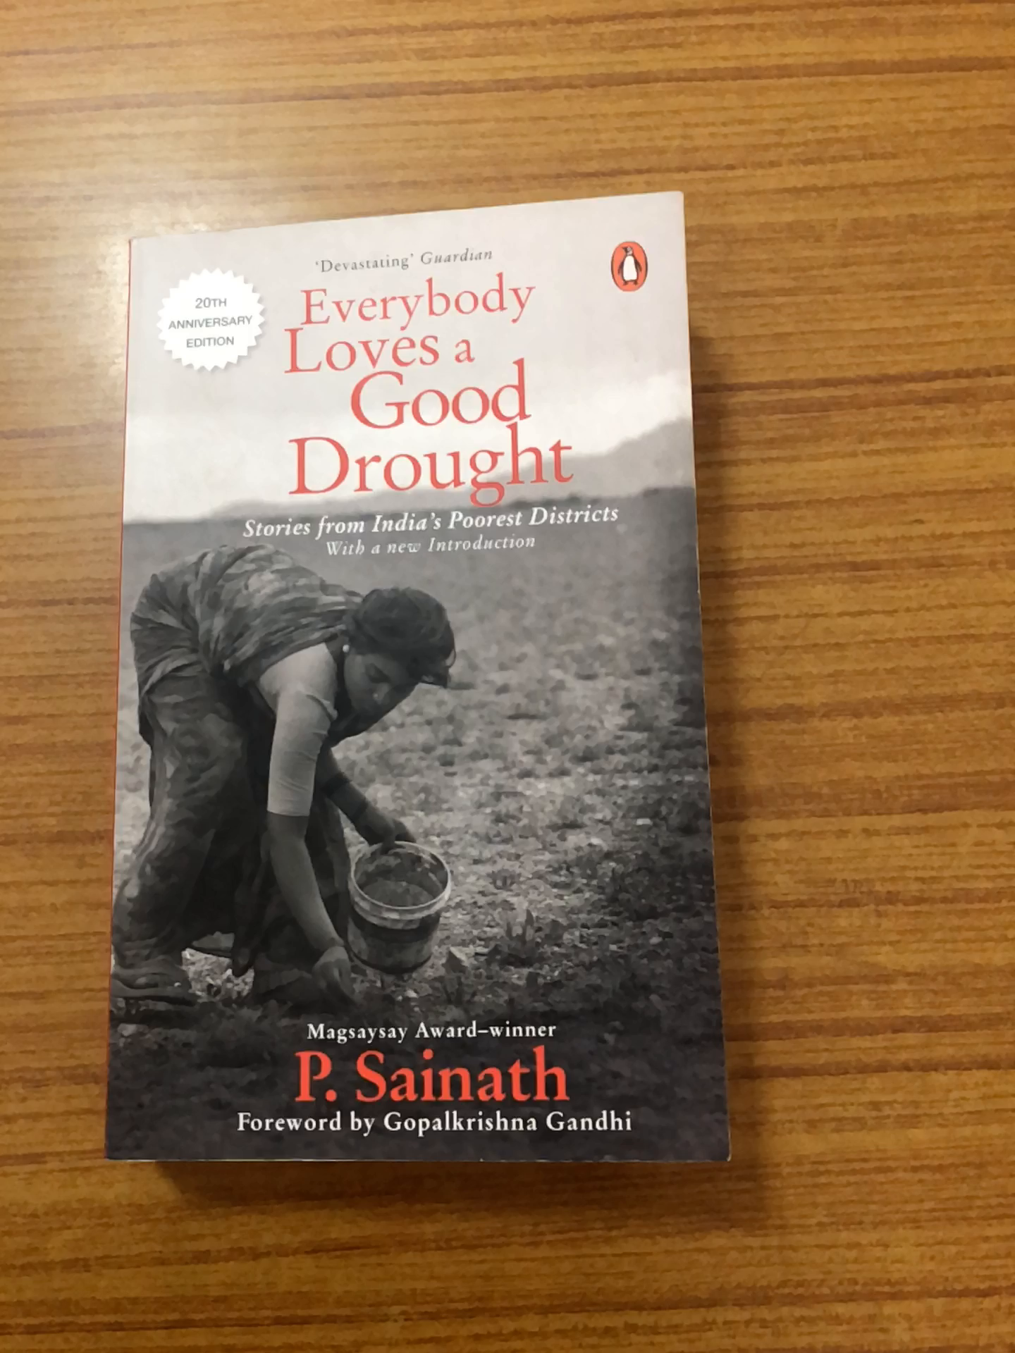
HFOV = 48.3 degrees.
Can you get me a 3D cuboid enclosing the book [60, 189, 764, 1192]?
[{"bbox_3d":[-0.021,0.000,0.259,0.140,0.040,0.210,-1,82,2],"label":"book"}]
